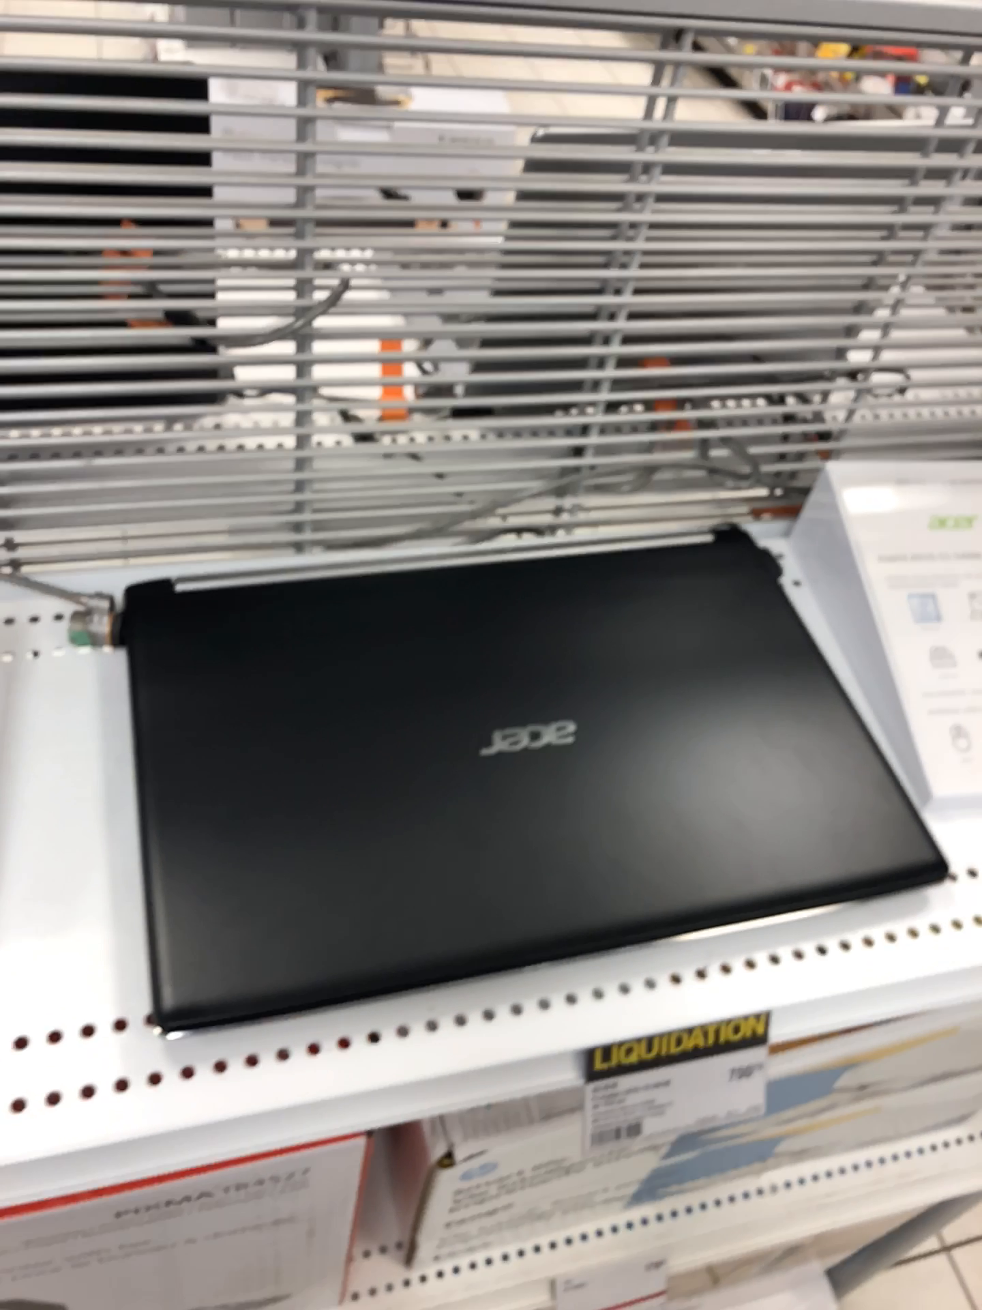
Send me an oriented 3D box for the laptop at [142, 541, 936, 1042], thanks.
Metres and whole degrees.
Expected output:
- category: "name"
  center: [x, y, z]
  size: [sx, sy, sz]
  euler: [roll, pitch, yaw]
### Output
- category: "laptop"
  center: [0.017, 0.043, 0.555]
  size: [0.362, 0.012, 0.228]
  euler: [-7, 52, -16]
